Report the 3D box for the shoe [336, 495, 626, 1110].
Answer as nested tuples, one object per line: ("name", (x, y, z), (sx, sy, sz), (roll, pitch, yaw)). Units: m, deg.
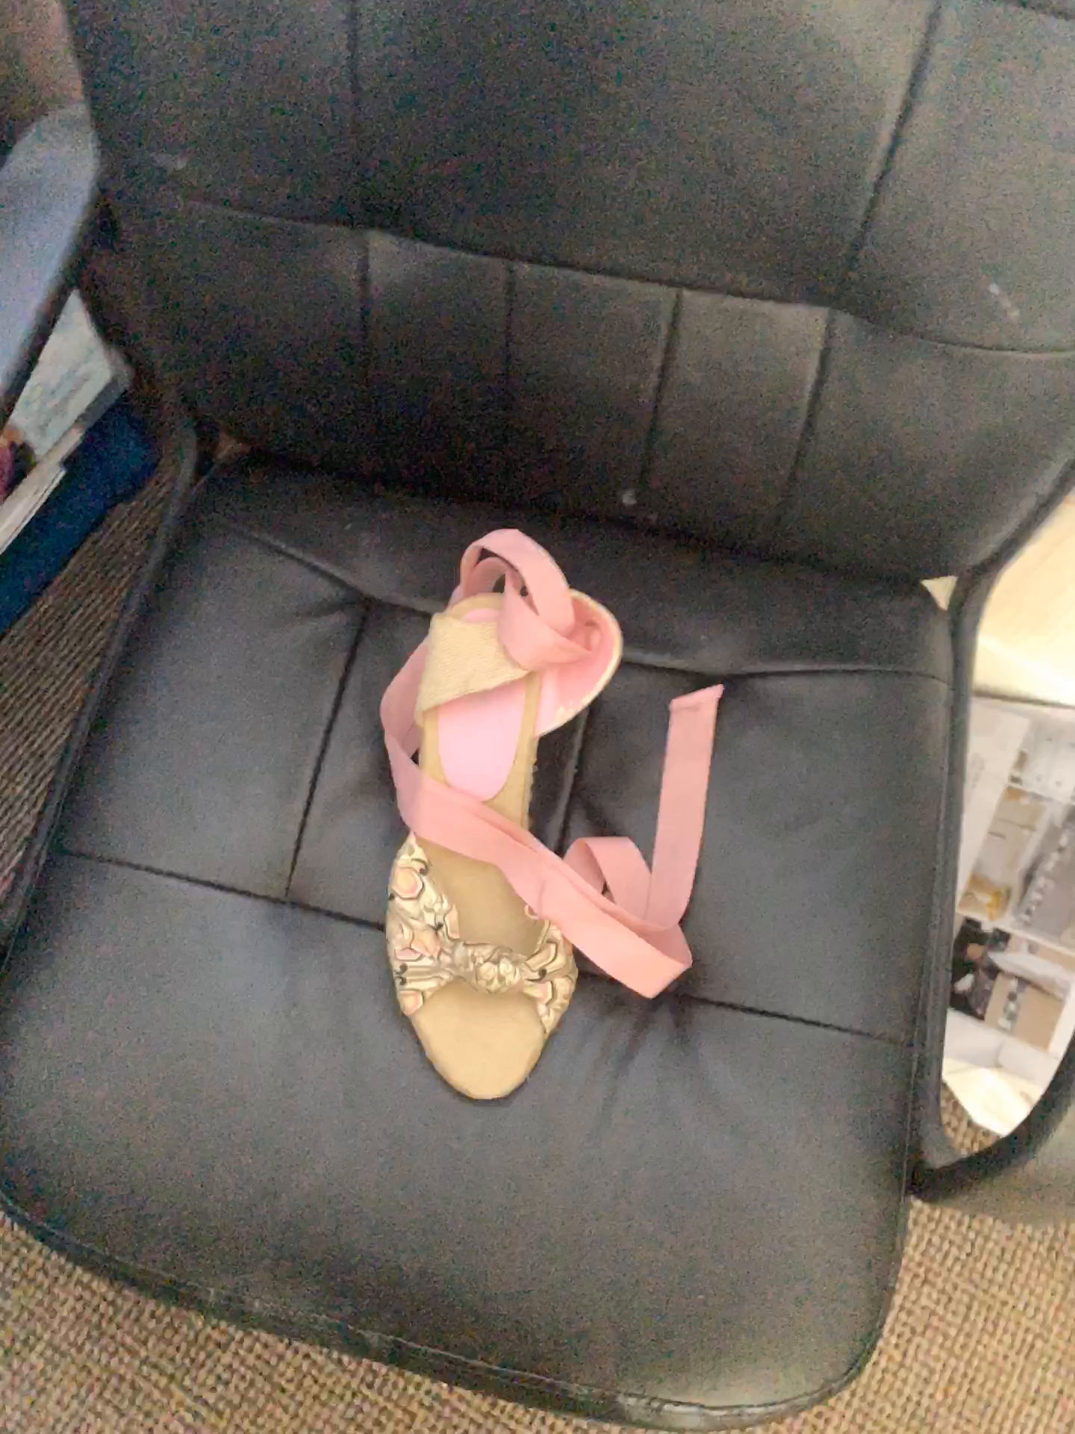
("shoe", (-0.021, 0.048, 0.549), (0.100, 0.139, 0.271), (5, 70, 0))
